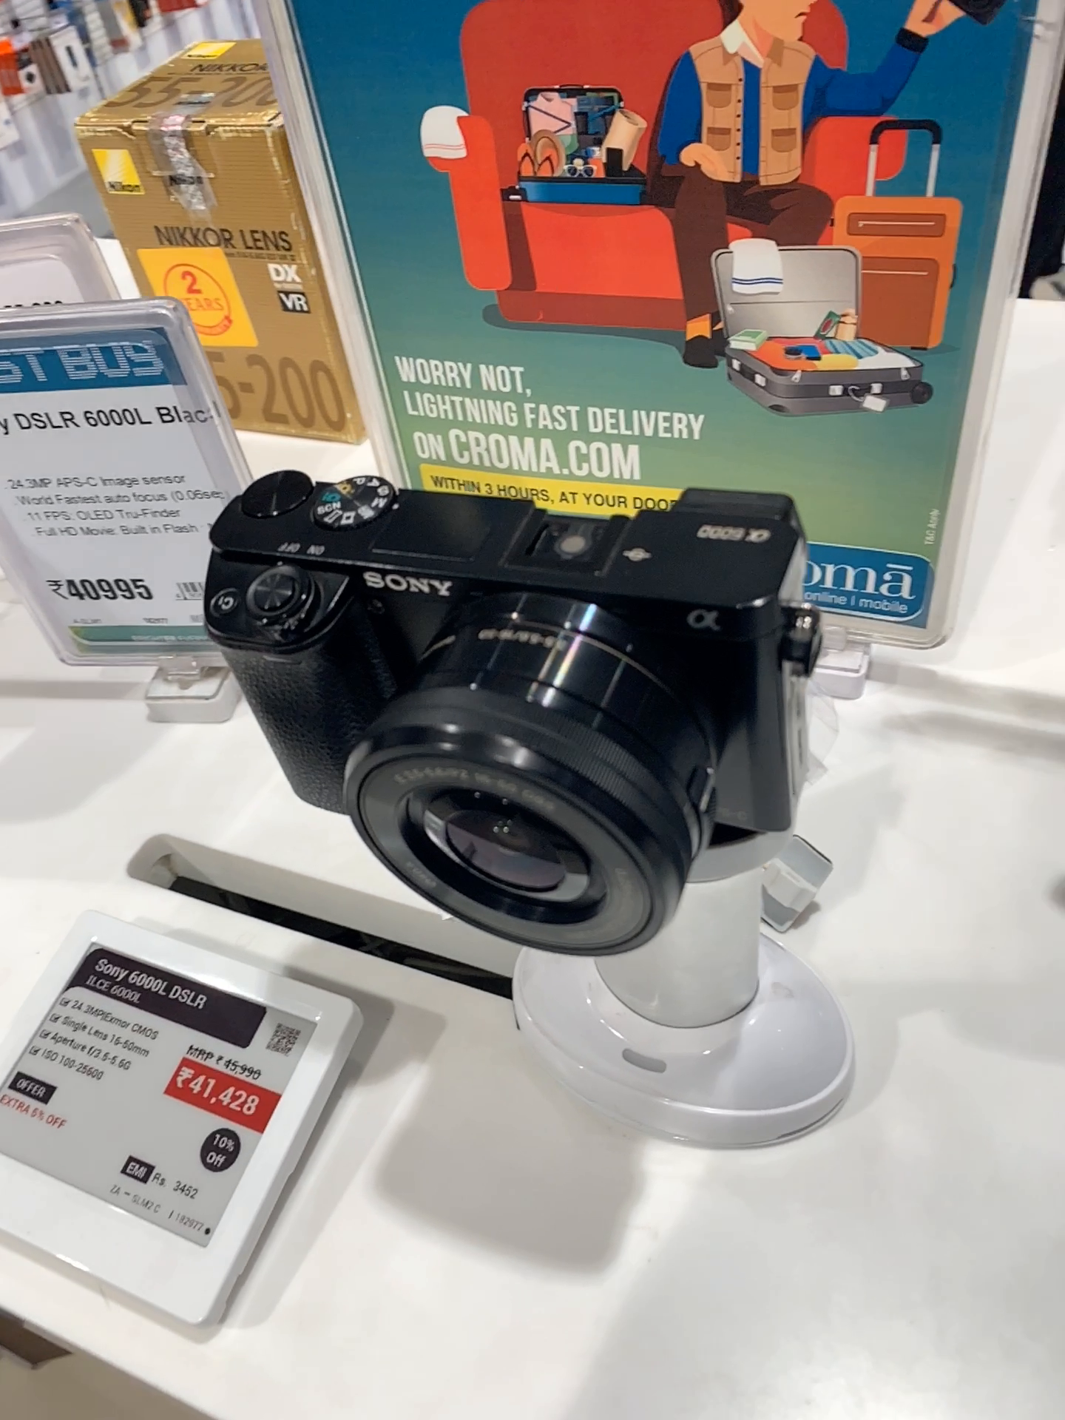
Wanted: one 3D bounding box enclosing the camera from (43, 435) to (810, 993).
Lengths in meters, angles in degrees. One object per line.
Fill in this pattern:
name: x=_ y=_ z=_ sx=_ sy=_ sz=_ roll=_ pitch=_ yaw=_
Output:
camera: x=-0.013 y=-0.002 z=0.209 sx=0.118 sy=0.073 sz=0.056 roll=8 pitch=48 yaw=18
